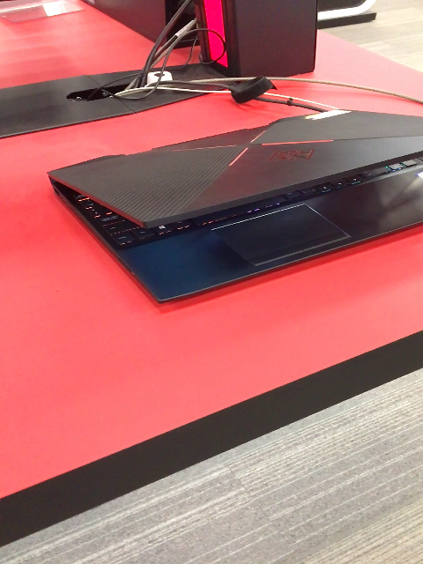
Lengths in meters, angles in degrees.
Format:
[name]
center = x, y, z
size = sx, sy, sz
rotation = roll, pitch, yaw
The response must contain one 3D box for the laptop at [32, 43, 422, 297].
[laptop]
center = 0.060, -0.129, 0.555
size = 0.359, 0.093, 0.229
rotation = -21, 48, -17
